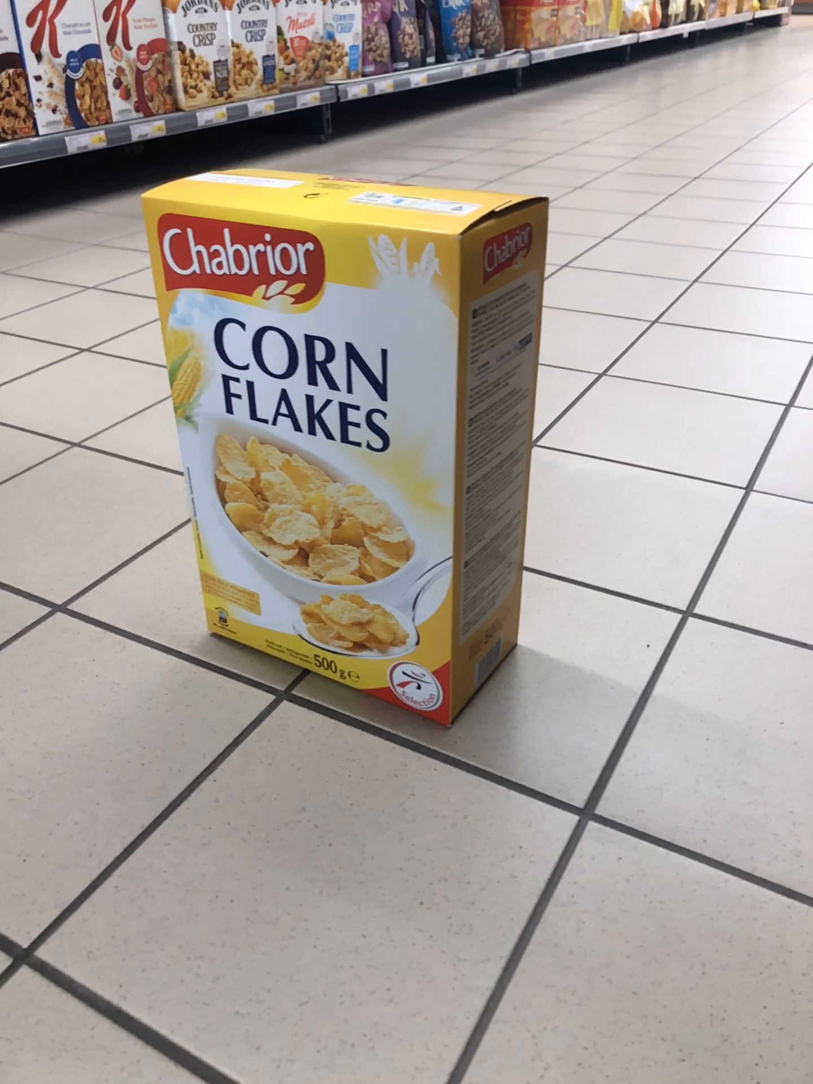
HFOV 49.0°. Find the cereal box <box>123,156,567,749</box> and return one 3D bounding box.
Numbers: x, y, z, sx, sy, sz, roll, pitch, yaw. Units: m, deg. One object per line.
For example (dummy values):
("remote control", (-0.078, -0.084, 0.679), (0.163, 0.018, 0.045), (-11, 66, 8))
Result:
("cereal box", (-0.031, -0.059, 0.551), (0.210, 0.308, 0.111), (17, 35, 28))
